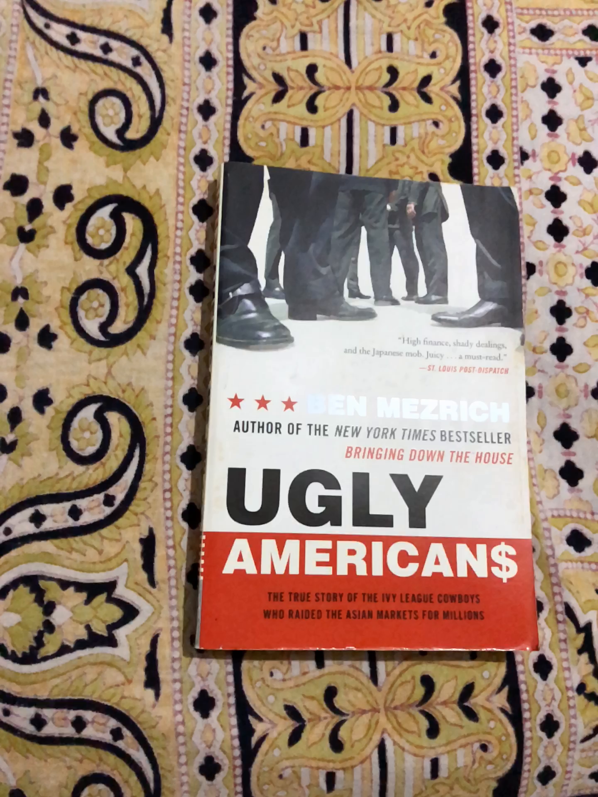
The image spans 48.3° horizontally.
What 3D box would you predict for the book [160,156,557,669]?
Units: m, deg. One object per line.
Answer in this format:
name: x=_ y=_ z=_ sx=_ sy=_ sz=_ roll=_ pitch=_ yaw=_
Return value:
book: x=0.024 y=0.004 z=0.266 sx=0.140 sy=0.030 sz=0.190 roll=2 pitch=79 yaw=-5
